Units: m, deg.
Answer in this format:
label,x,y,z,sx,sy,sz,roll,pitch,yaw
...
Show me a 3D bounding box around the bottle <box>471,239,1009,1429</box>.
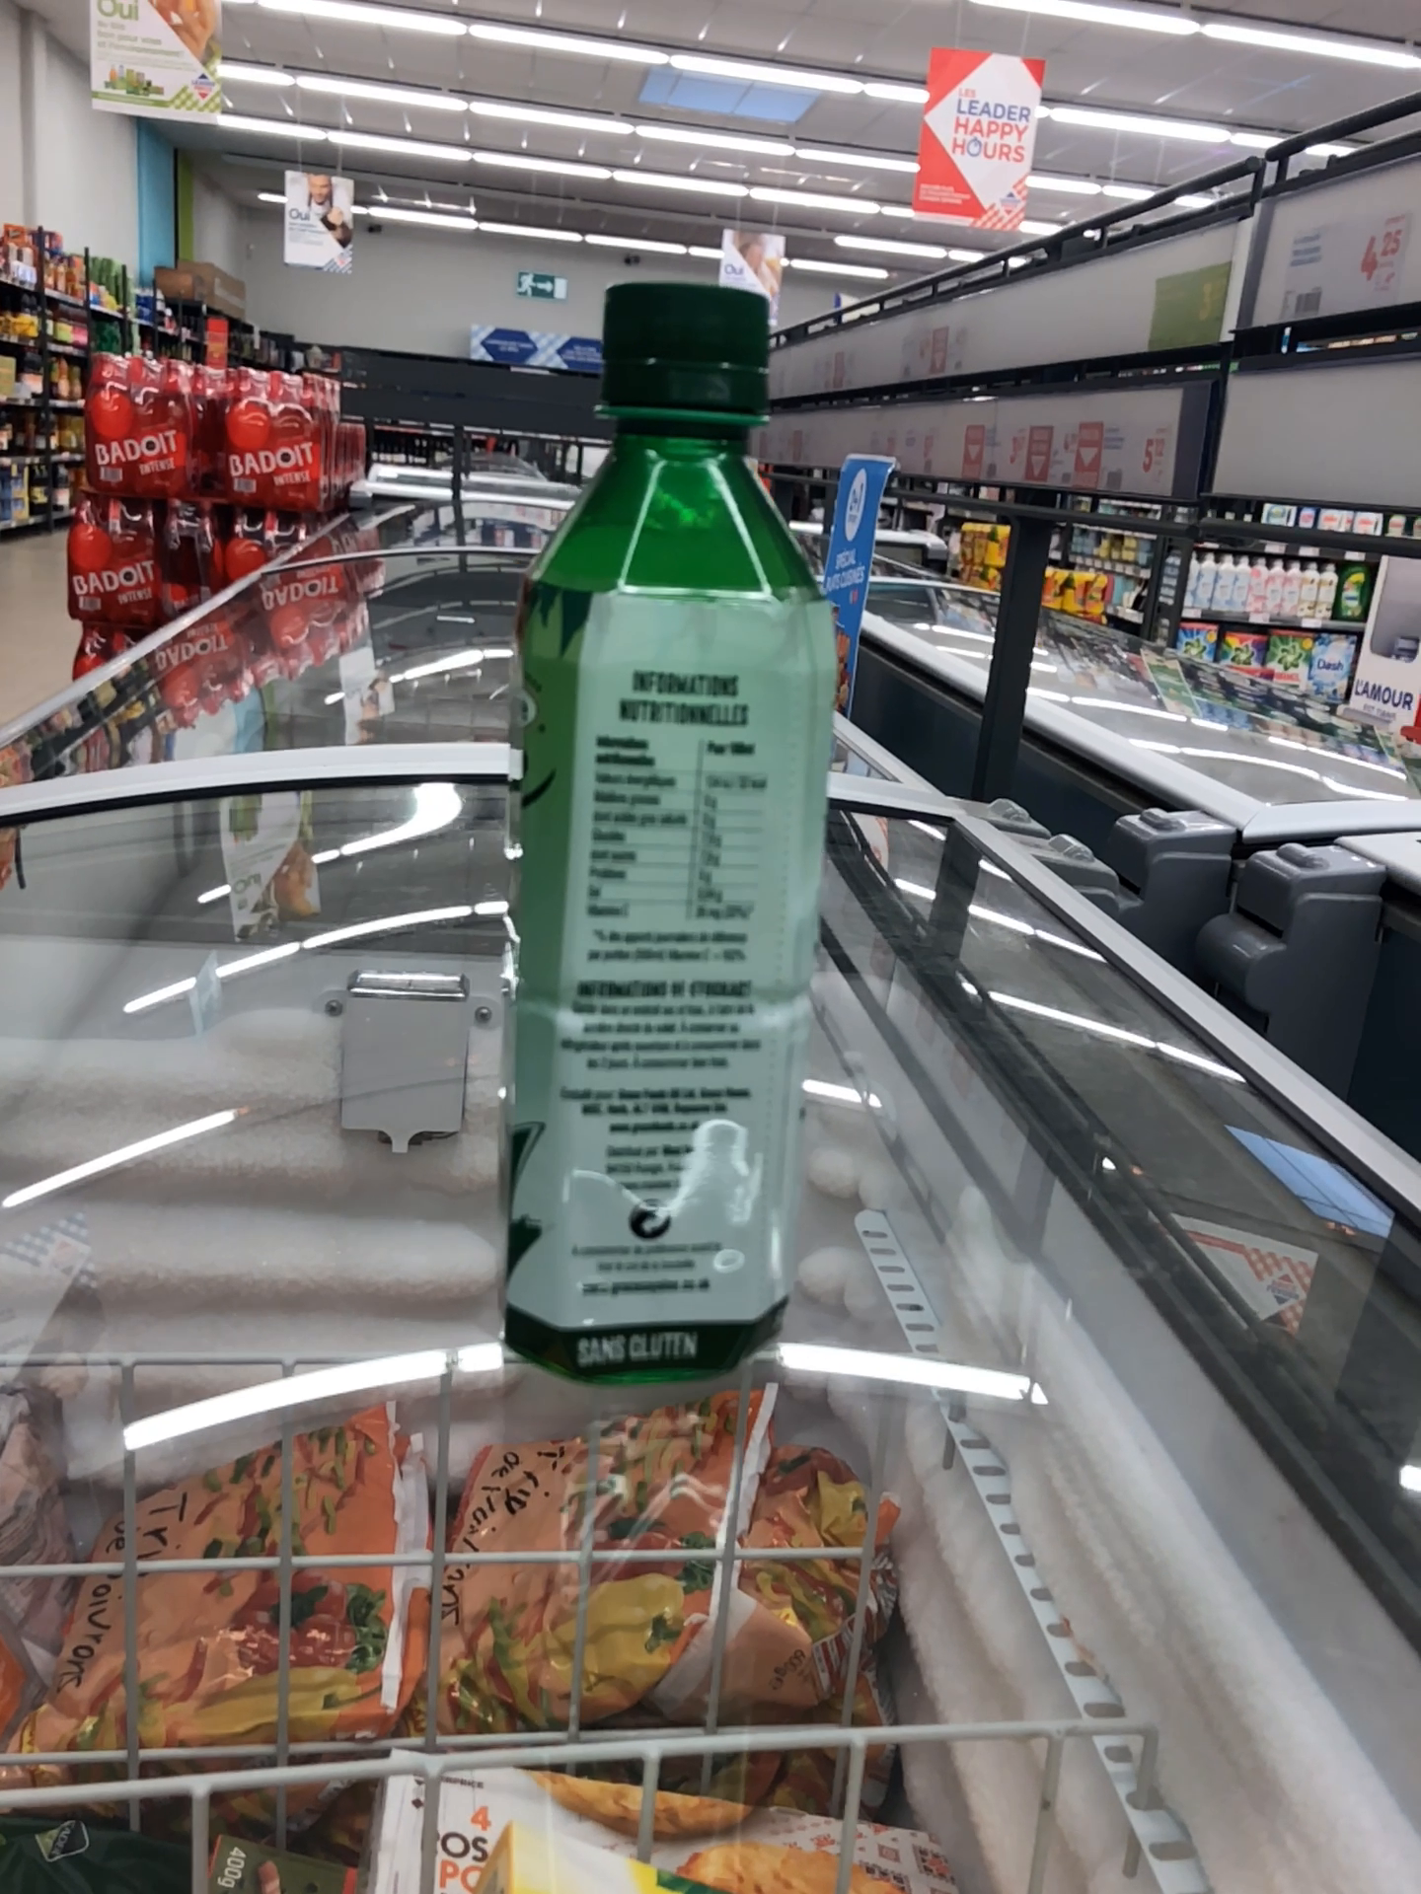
label,x,y,z,sx,sy,sz,roll,pitch,yaw
bottle,-0.004,-0.017,0.294,0.070,0.199,0.070,5,16,-2
